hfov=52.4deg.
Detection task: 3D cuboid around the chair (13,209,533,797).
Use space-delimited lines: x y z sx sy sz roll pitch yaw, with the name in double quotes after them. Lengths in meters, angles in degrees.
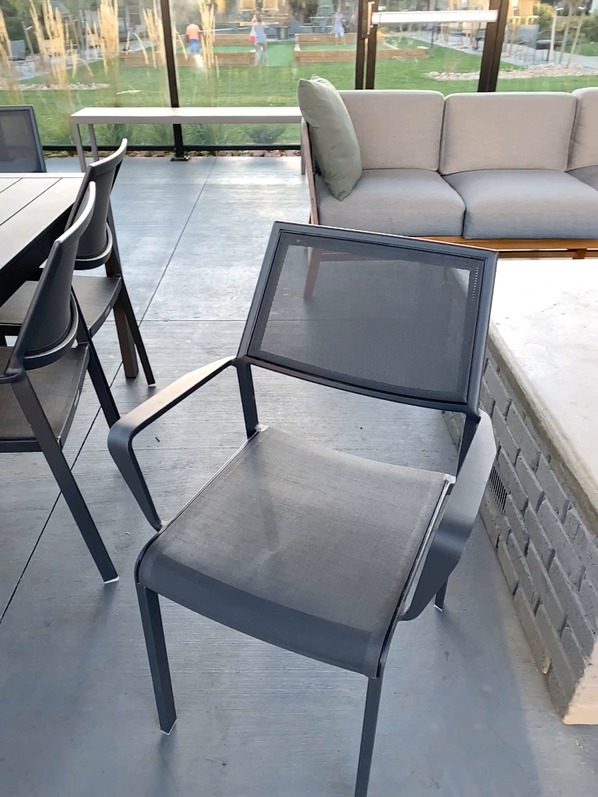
0.028 0.180 1.066 0.511 0.806 0.612 13 35 21 "chair"
